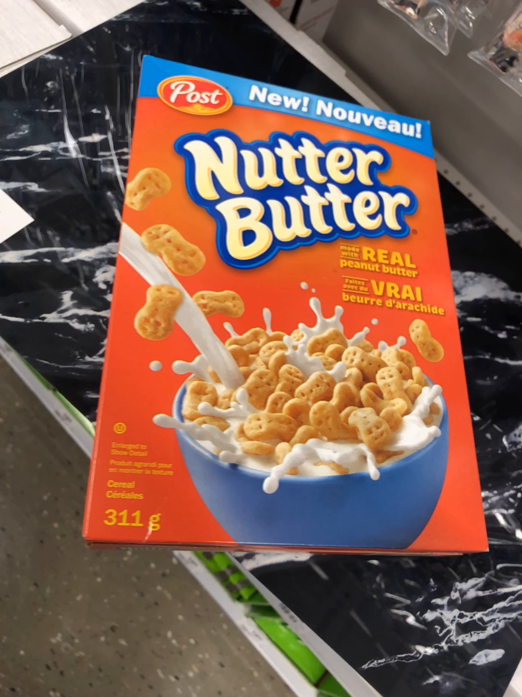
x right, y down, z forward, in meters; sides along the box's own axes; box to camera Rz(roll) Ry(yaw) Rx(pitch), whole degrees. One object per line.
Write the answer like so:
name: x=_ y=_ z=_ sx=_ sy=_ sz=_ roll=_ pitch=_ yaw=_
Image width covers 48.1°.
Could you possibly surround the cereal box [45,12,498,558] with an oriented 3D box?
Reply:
cereal box: x=0.010 y=-0.041 z=0.340 sx=0.210 sy=0.050 sz=0.300 roll=6 pitch=68 yaw=-13
